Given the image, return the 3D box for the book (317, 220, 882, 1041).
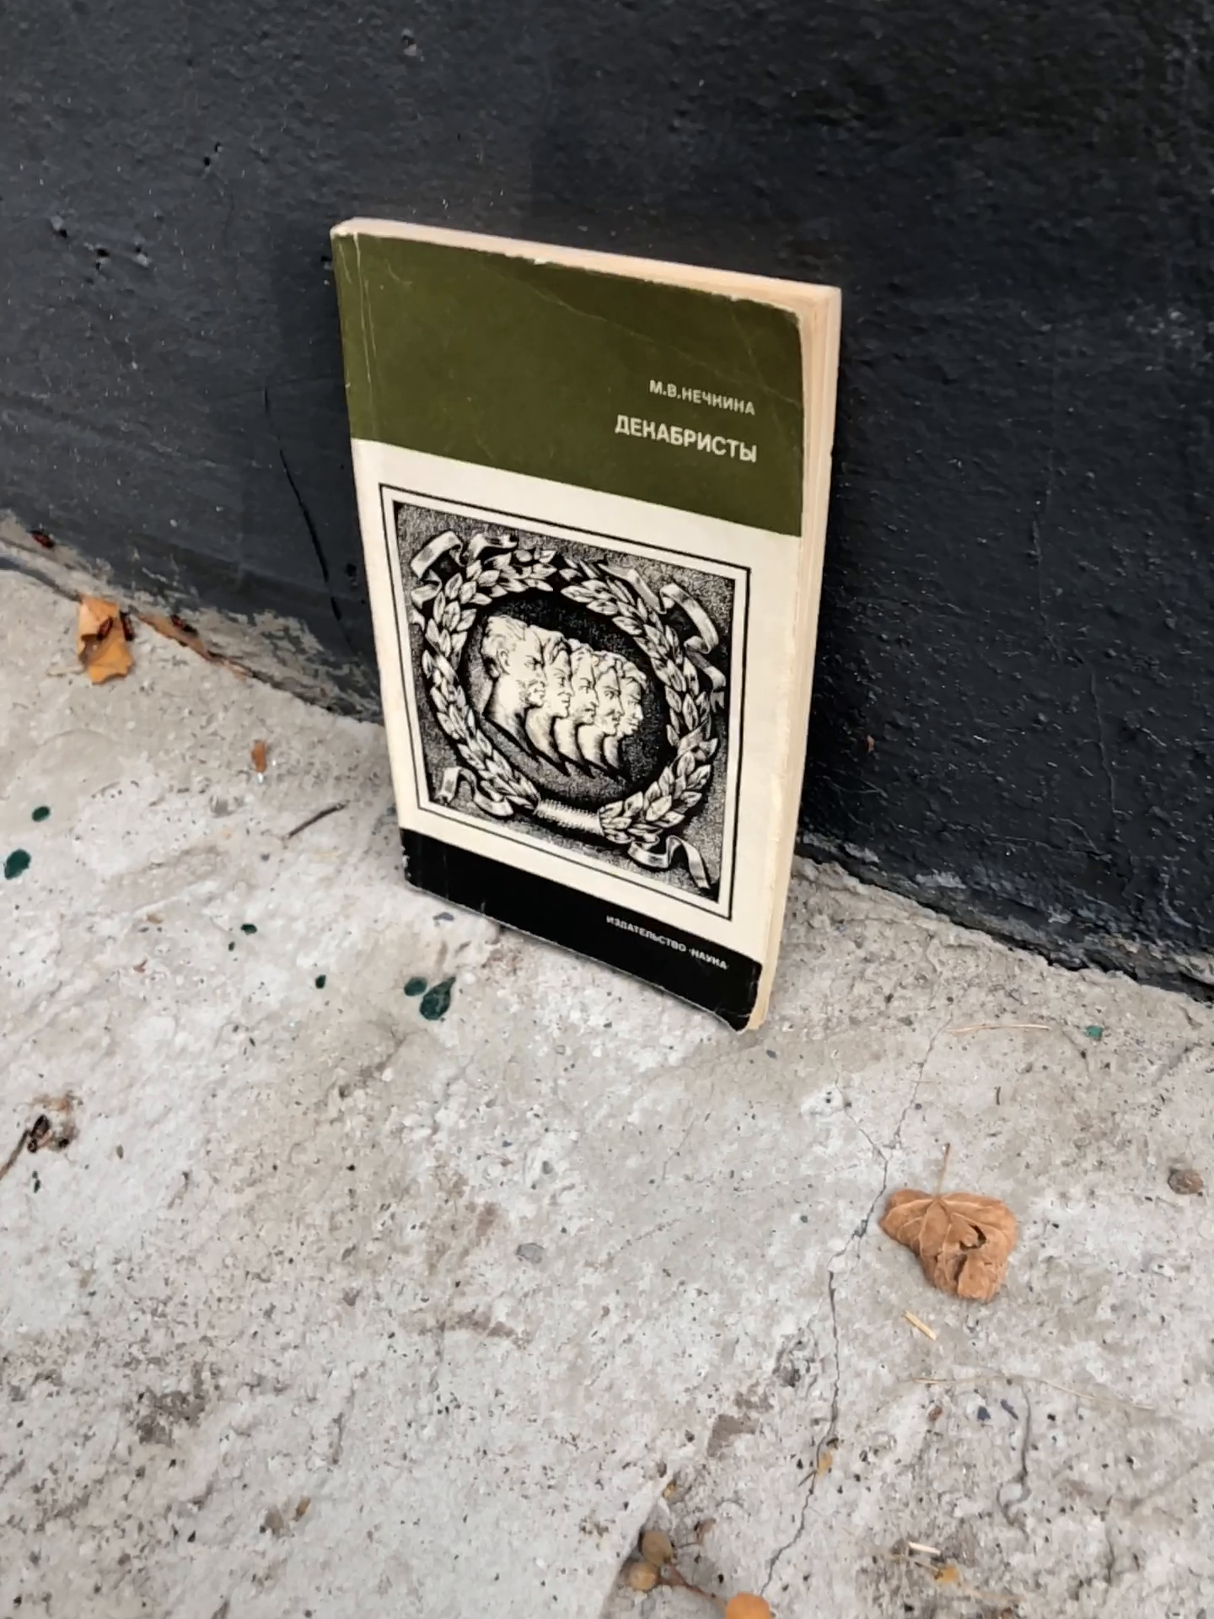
[{"bbox_3d":[-0.008,-0.038,0.314,0.120,0.169,0.020,19,36,25],"label":"book"}]
